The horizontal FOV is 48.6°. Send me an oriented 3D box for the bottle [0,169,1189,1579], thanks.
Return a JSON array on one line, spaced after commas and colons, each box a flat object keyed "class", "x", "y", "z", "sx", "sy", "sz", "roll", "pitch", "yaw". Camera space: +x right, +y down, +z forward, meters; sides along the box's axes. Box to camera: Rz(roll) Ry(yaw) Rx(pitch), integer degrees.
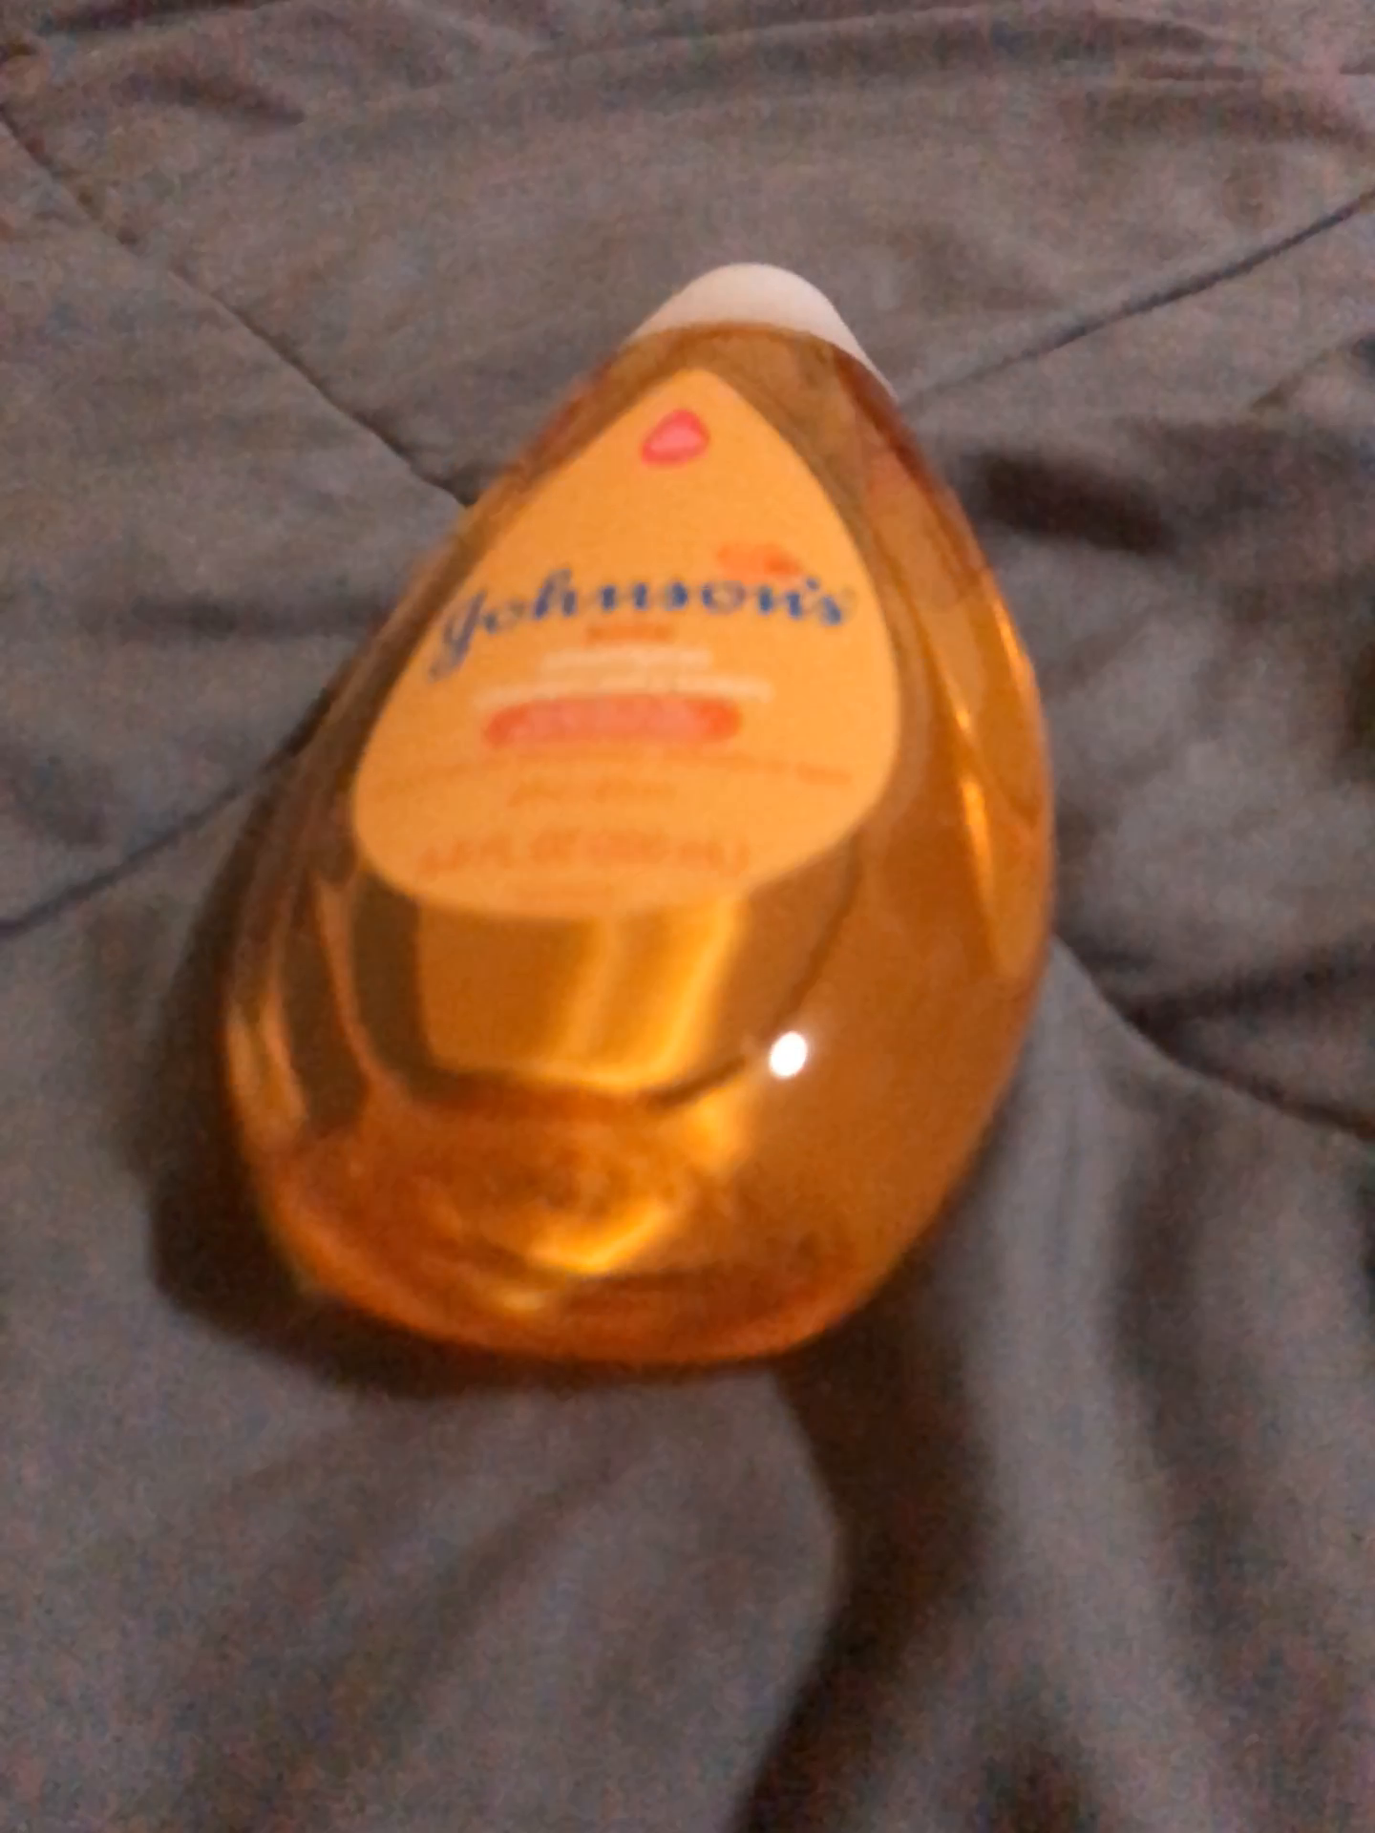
[{"class": "bottle", "x": 0.001, "y": -0.026, "z": 0.157, "sx": 0.083, "sy": 0.040, "sz": 0.160, "roll": 4, "pitch": 45, "yaw": 11}]
